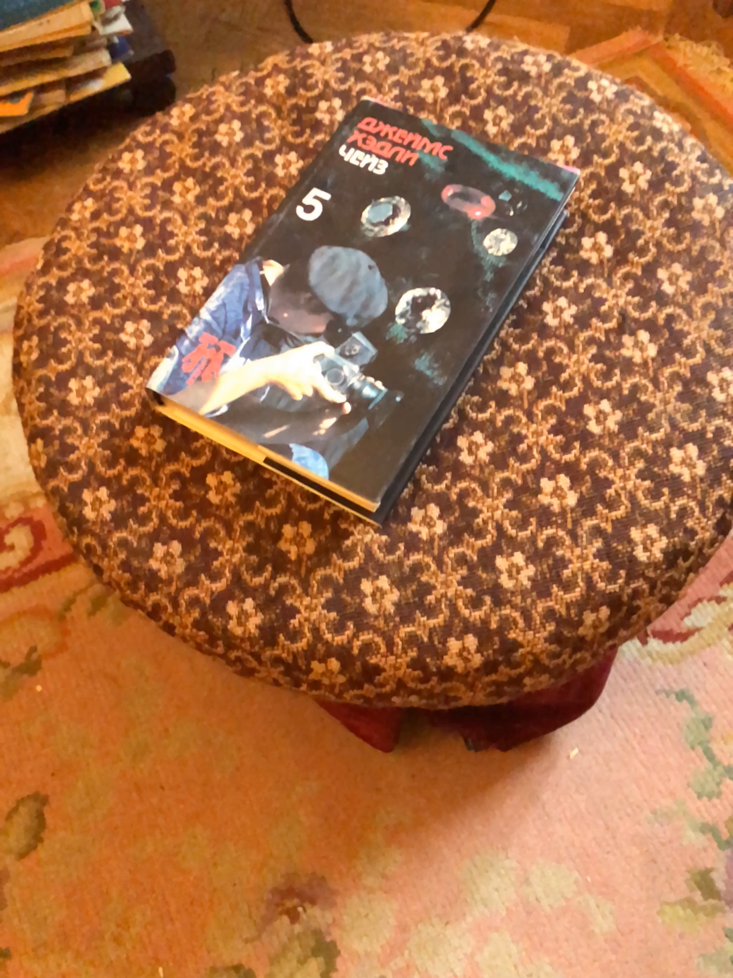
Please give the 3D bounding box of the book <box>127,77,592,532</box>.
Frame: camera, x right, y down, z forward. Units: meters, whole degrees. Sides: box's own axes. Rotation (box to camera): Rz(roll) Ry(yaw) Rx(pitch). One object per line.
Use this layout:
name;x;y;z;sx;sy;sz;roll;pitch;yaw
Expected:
book;-0.001;-0.100;0.399;0.140;0.020;0.205;28;76;15
